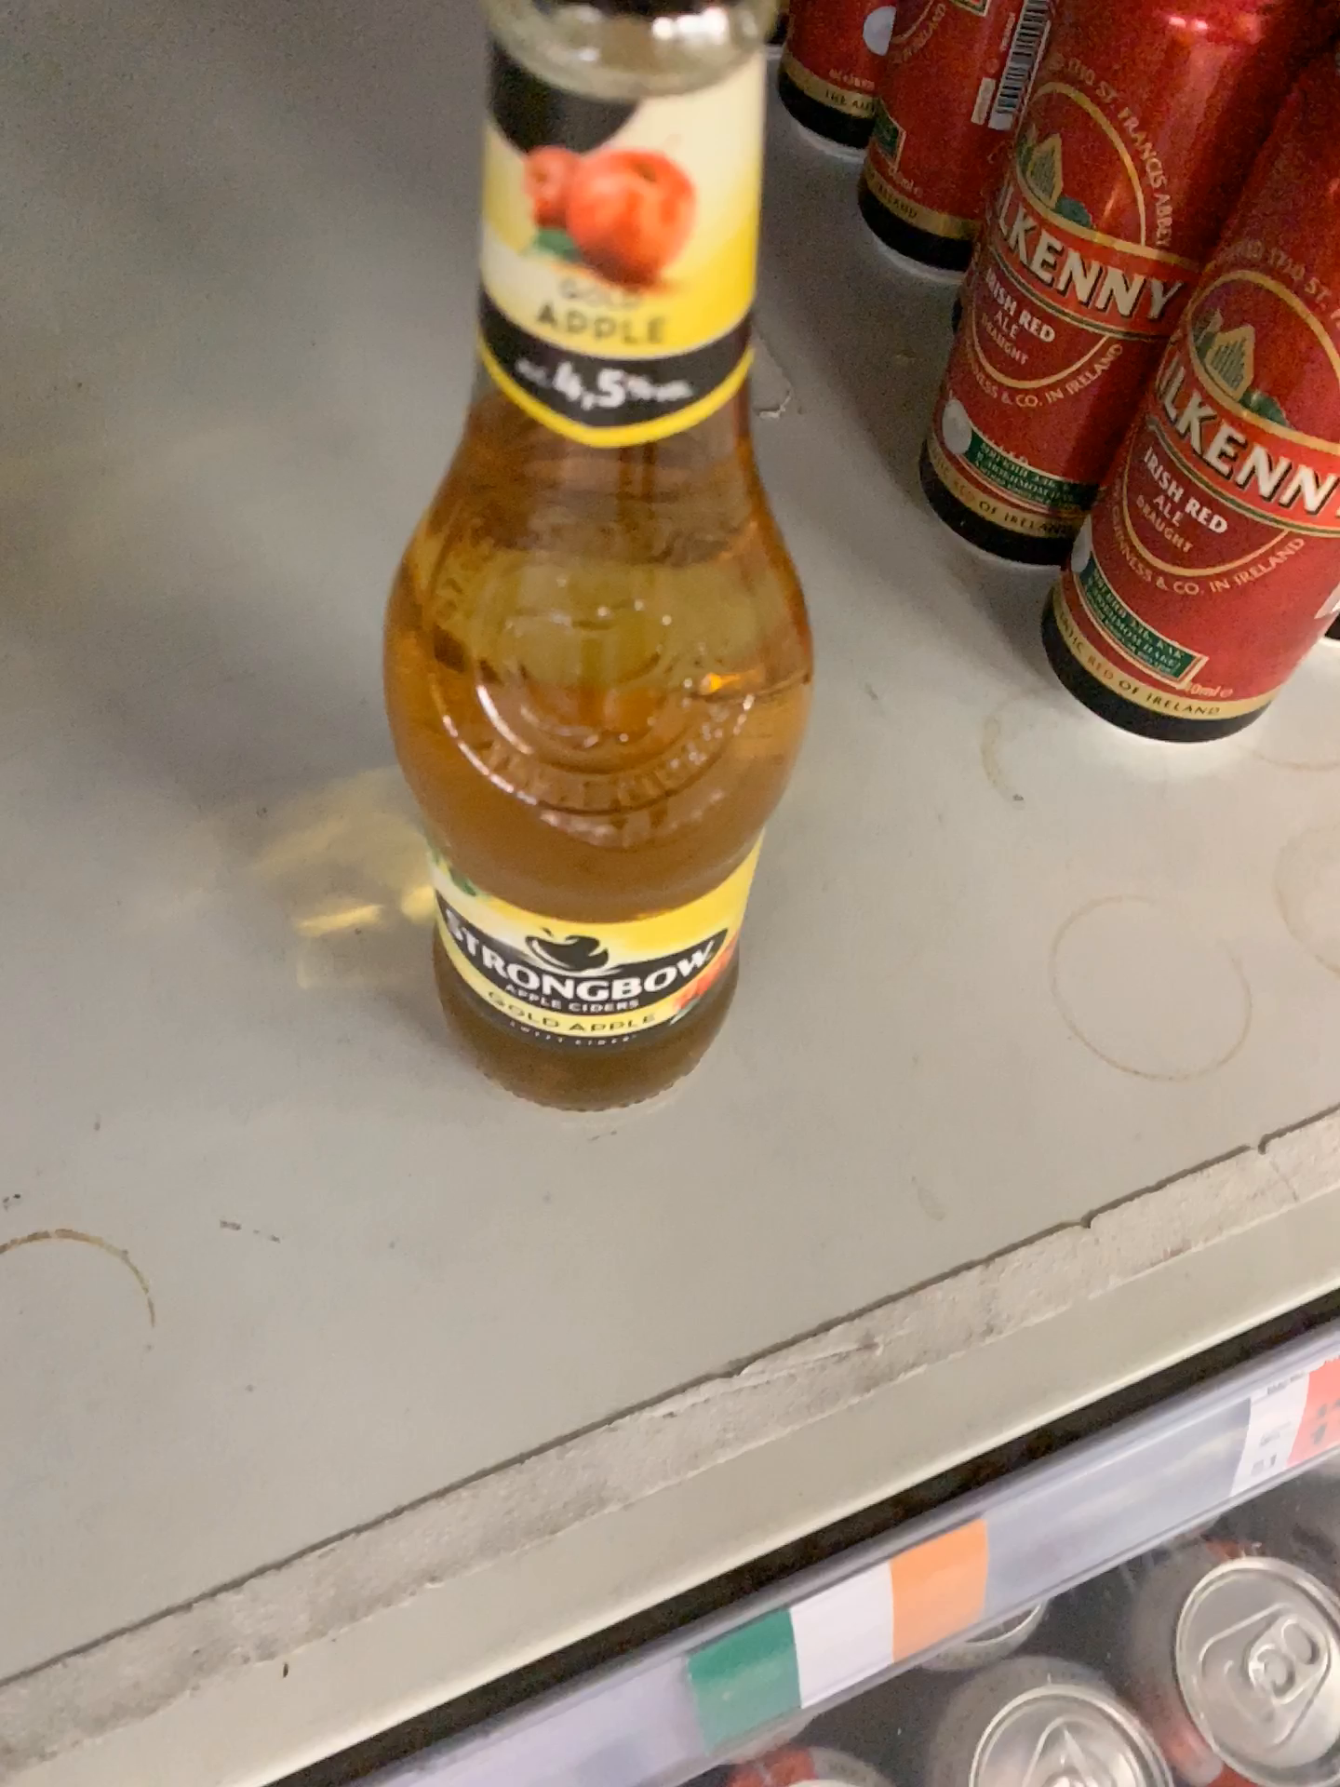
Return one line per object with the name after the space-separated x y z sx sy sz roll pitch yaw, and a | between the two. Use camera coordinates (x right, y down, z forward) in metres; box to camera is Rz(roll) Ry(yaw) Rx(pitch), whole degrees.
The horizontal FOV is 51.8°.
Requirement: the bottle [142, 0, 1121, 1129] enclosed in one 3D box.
-0.009 -0.047 0.235 0.080 0.239 0.080 3 59 -4 | bottle
